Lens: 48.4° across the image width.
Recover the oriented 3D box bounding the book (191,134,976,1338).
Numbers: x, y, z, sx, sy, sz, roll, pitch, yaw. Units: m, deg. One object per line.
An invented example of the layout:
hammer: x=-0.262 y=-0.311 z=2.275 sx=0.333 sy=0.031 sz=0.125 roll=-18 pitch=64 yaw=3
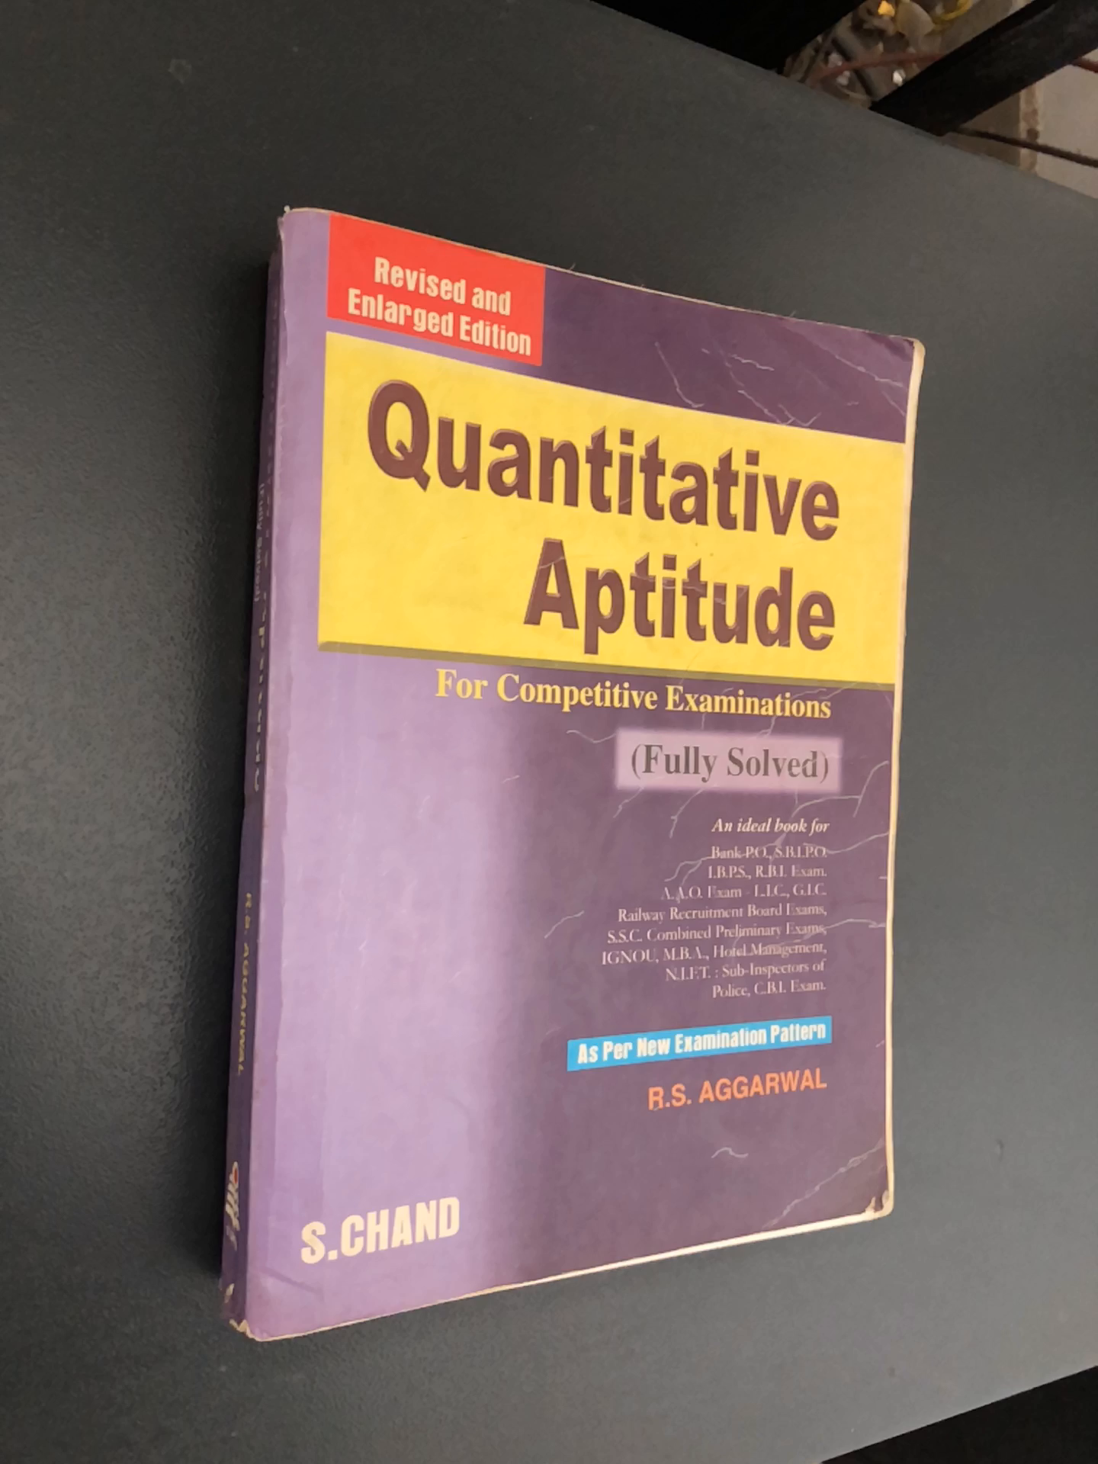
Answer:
book: x=0.017 y=0.003 z=0.289 sx=0.181 sy=0.050 sz=0.220 roll=3 pitch=87 yaw=-29
